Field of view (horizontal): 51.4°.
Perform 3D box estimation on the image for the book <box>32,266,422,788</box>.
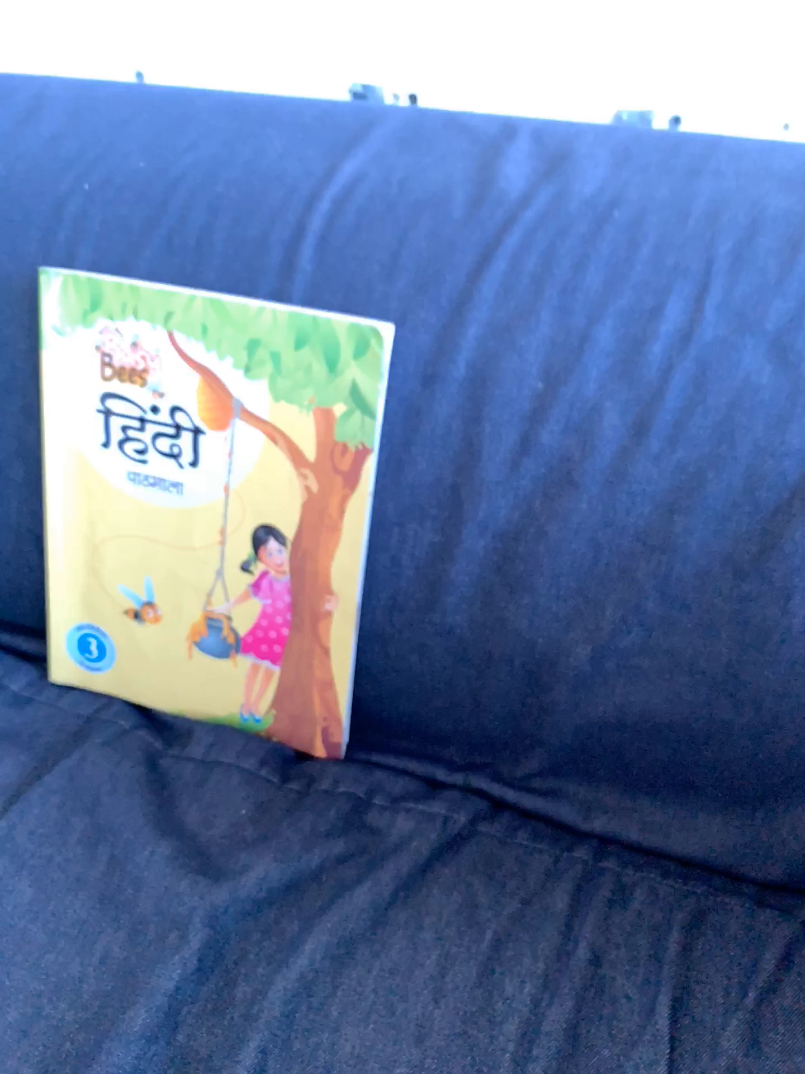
[{"bbox_3d":[-0.119,-0.004,0.519,0.230,0.284,0.029,13,21,15],"label":"book"}]
